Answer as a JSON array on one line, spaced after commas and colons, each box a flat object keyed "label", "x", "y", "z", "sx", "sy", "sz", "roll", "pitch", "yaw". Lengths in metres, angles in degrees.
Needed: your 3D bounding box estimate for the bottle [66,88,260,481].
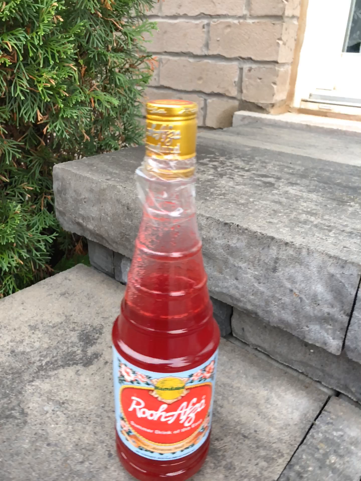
[{"label": "bottle", "x": -0.014, "y": 0.047, "z": 0.282, "sx": 0.090, "sy": 0.279, "sz": 0.080, "roll": 1, "pitch": 25, "yaw": -2}]
